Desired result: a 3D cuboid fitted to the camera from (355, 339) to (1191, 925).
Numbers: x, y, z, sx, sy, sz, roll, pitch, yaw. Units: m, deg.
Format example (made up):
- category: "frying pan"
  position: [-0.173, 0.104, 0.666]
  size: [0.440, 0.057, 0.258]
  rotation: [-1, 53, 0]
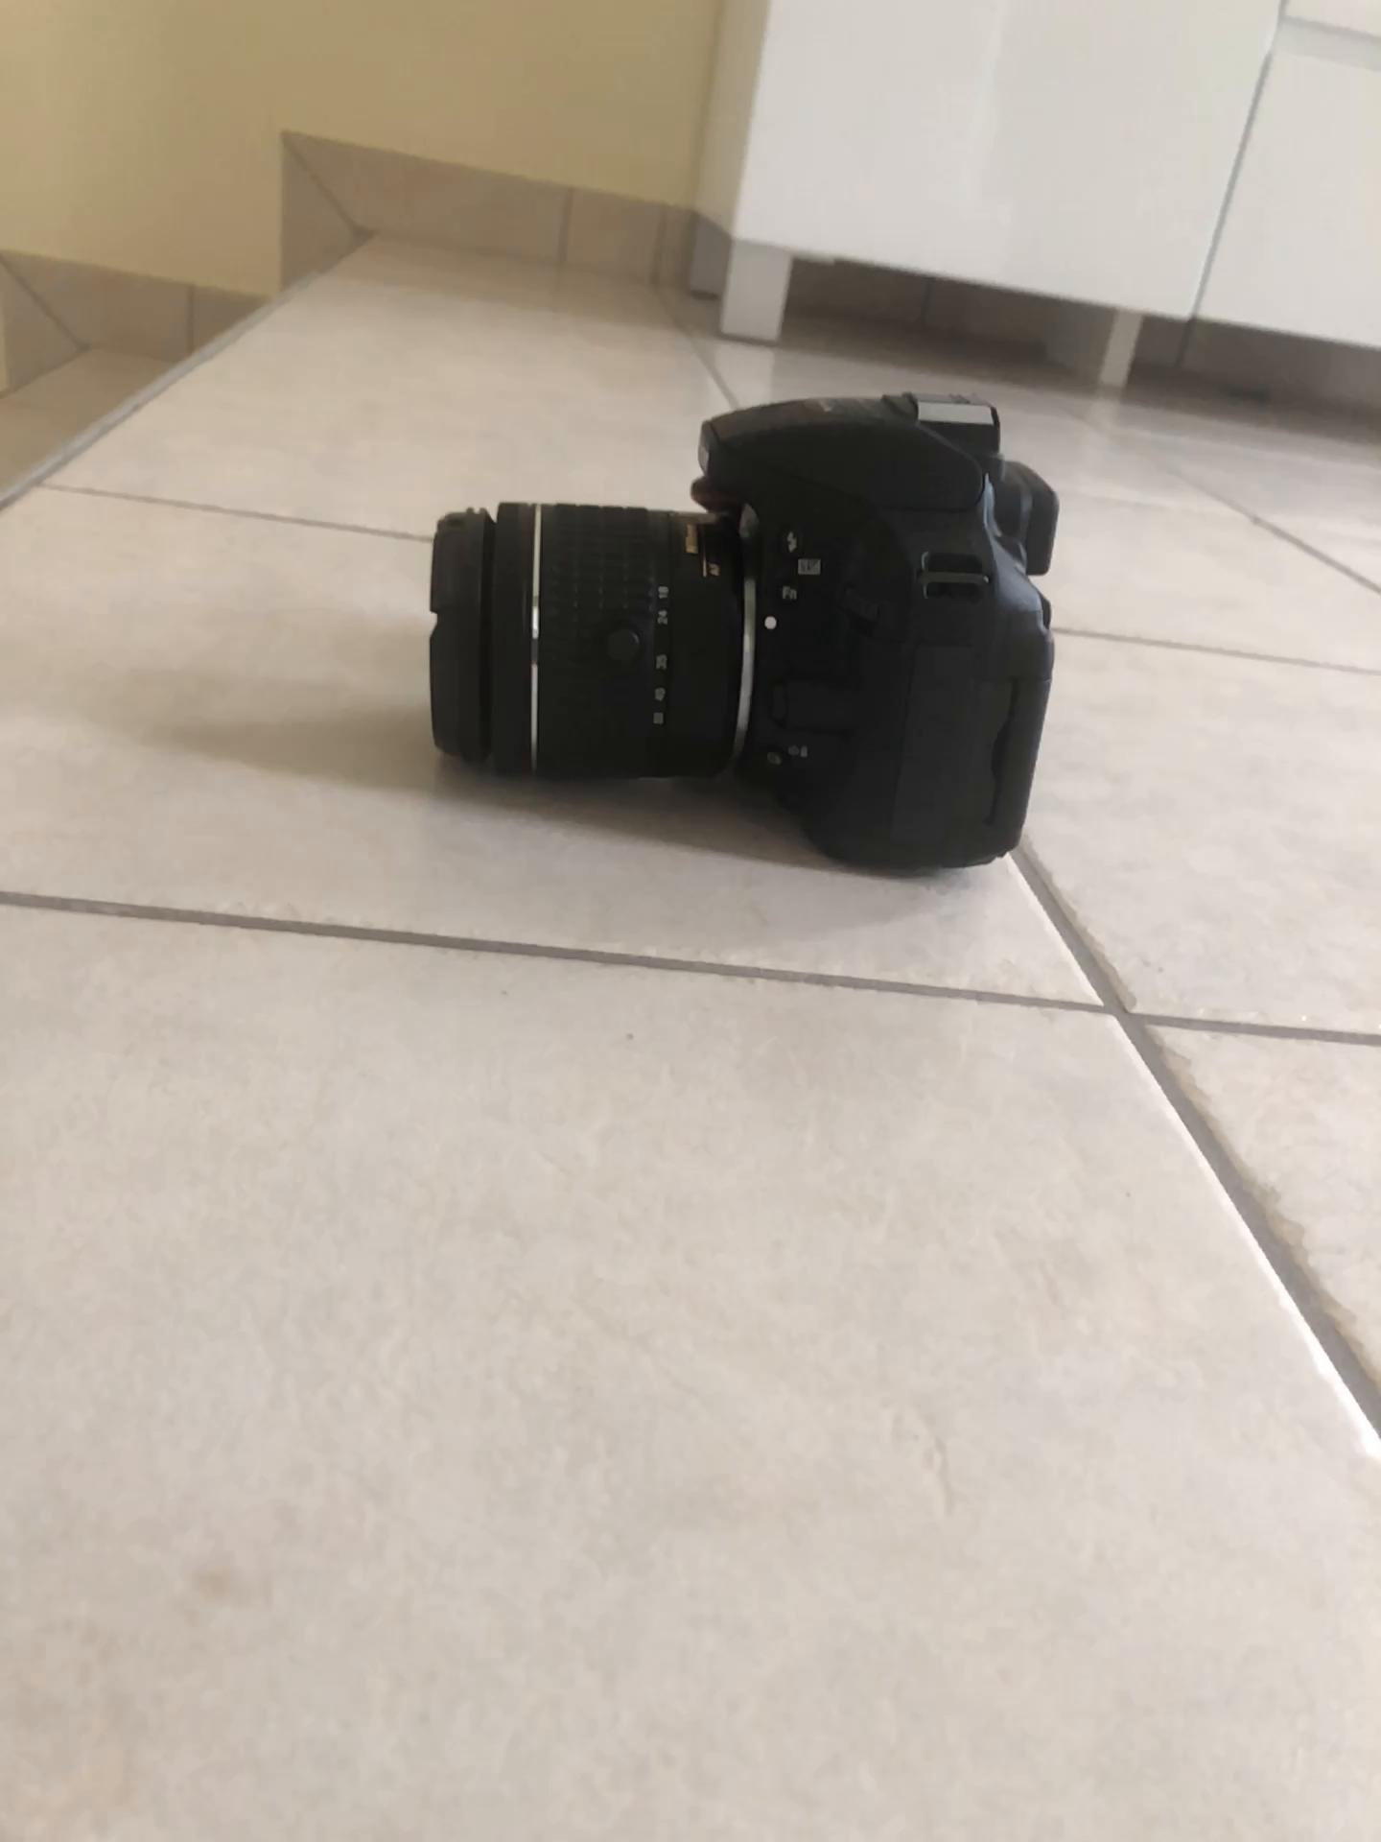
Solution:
- category: "camera"
  position: [0.010, -0.077, 0.373]
  size: [0.160, 0.089, 0.141]
  rotation: [4, 27, -6]
